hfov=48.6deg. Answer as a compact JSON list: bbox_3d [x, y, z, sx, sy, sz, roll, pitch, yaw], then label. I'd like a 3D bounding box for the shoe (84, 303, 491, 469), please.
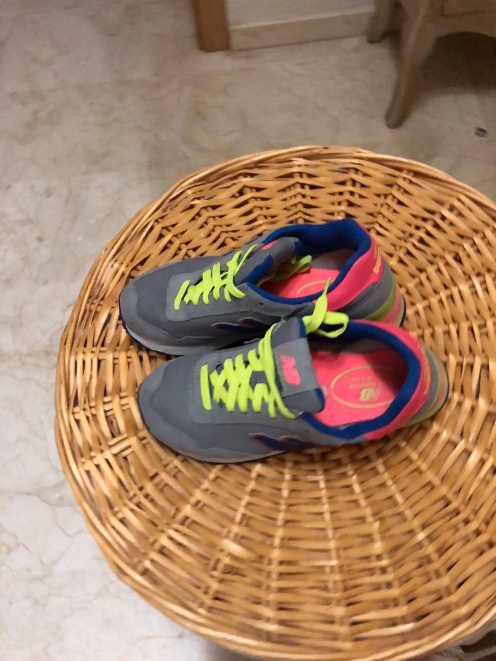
[{"bbox_3d":[0.027,0.052,0.447,0.280,0.110,0.100,-2,70,3],"label":"shoe"}]

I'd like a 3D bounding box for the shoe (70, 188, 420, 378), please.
[{"bbox_3d":[0.003,-0.038,0.474,0.260,0.110,0.100,6,66,6],"label":"shoe"}]
